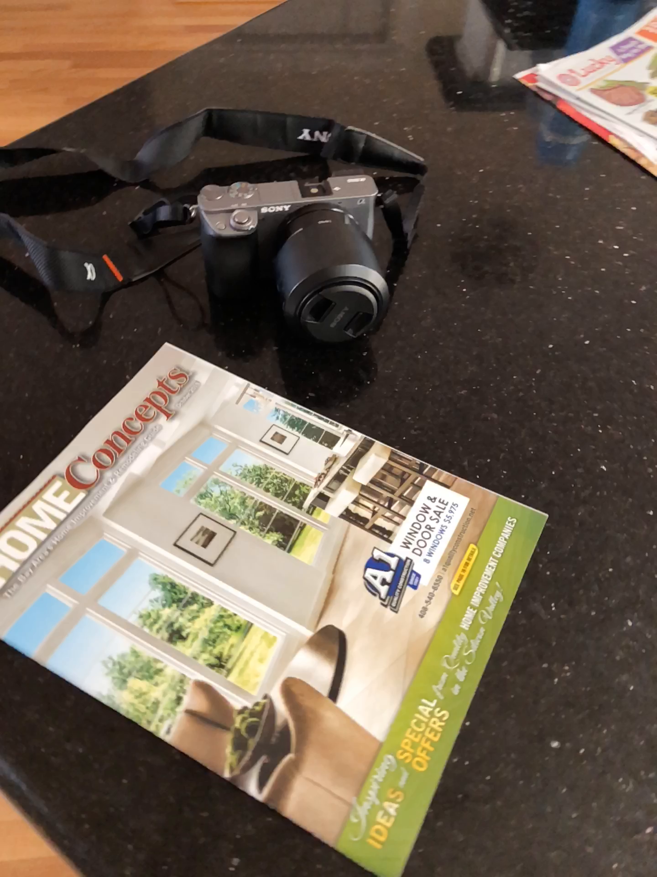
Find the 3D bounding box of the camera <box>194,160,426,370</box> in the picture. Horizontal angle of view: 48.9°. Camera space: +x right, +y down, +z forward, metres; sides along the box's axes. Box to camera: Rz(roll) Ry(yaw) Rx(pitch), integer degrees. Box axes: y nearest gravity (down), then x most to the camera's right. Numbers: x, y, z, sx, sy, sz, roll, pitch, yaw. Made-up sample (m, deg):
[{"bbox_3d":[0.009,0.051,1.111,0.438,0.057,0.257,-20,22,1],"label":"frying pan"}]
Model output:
[{"bbox_3d":[-0.016,-0.113,0.459,0.120,0.060,0.110,-9,55,-9],"label":"camera"}]
